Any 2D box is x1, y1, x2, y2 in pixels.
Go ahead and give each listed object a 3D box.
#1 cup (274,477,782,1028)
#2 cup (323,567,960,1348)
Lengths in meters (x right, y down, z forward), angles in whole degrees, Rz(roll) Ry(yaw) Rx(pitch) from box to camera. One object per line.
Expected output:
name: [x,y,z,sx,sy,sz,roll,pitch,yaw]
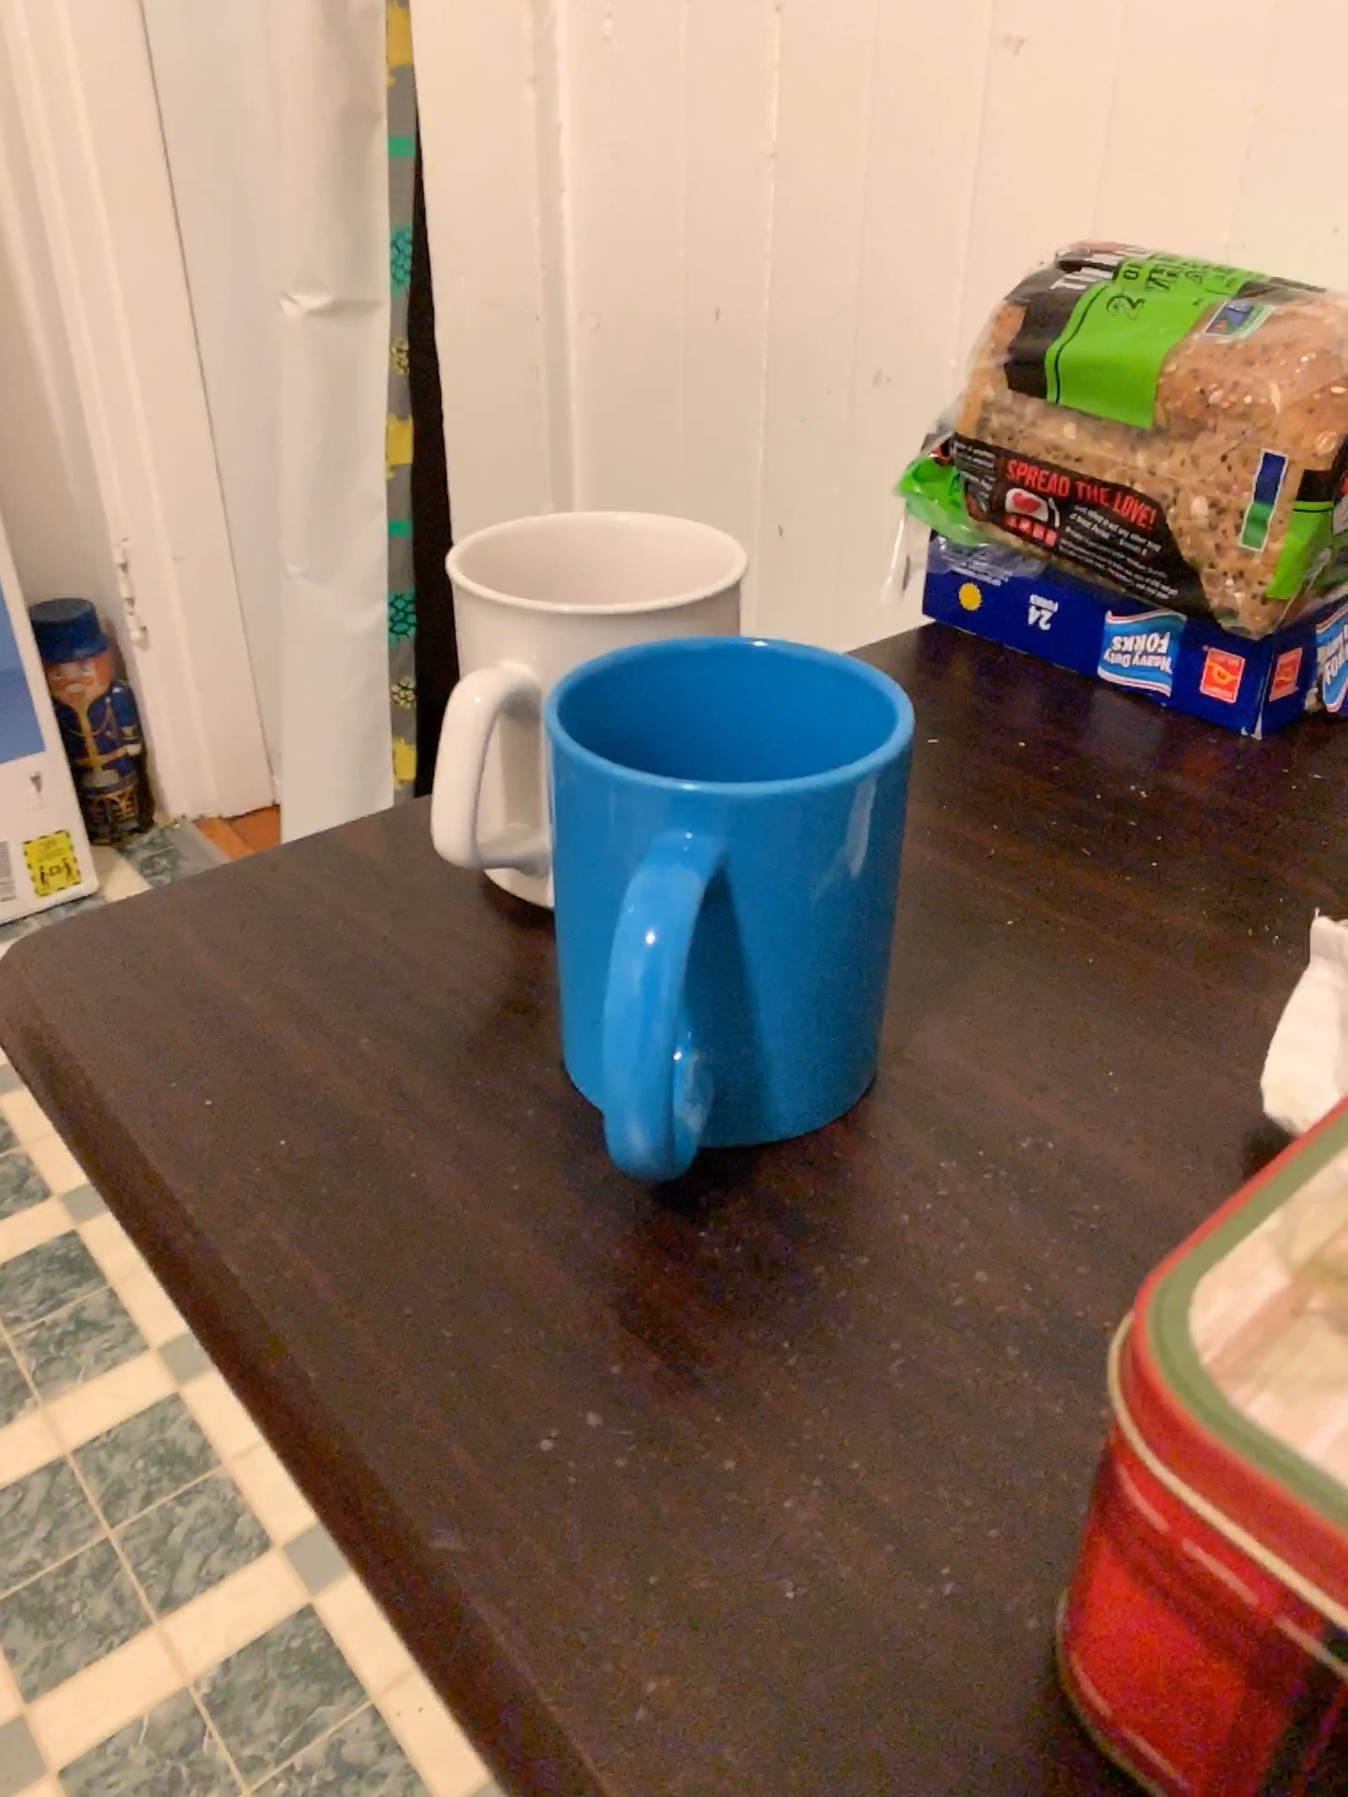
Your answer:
cup: [-0.032,-0.050,0.398,0.090,0.099,0.131,11,34,16]
cup: [0.003,0.001,0.310,0.090,0.099,0.141,10,33,15]
